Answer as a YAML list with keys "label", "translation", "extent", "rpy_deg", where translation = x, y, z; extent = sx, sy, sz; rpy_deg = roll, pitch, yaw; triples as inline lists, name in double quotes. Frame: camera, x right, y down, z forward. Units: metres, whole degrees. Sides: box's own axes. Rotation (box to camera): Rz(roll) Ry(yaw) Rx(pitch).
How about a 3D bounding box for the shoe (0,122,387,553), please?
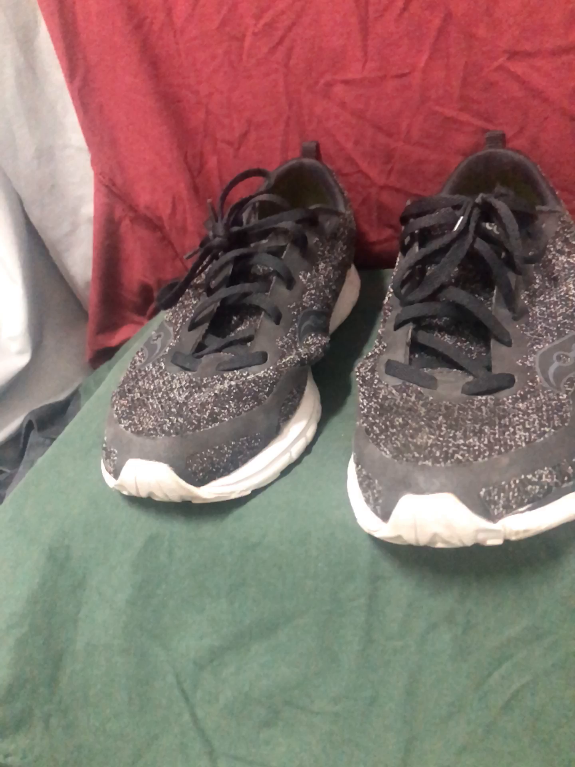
- label: "shoe"
  translation: [-0.034, -0.051, 0.362]
  extent: [0.120, 0.099, 0.272]
  rpy_deg: [0, 36, 22]

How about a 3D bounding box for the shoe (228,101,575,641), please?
- label: "shoe"
  translation: [0.091, -0.037, 0.296]
  extent: [0.120, 0.099, 0.262]
  rpy_deg: [1, 36, 23]
